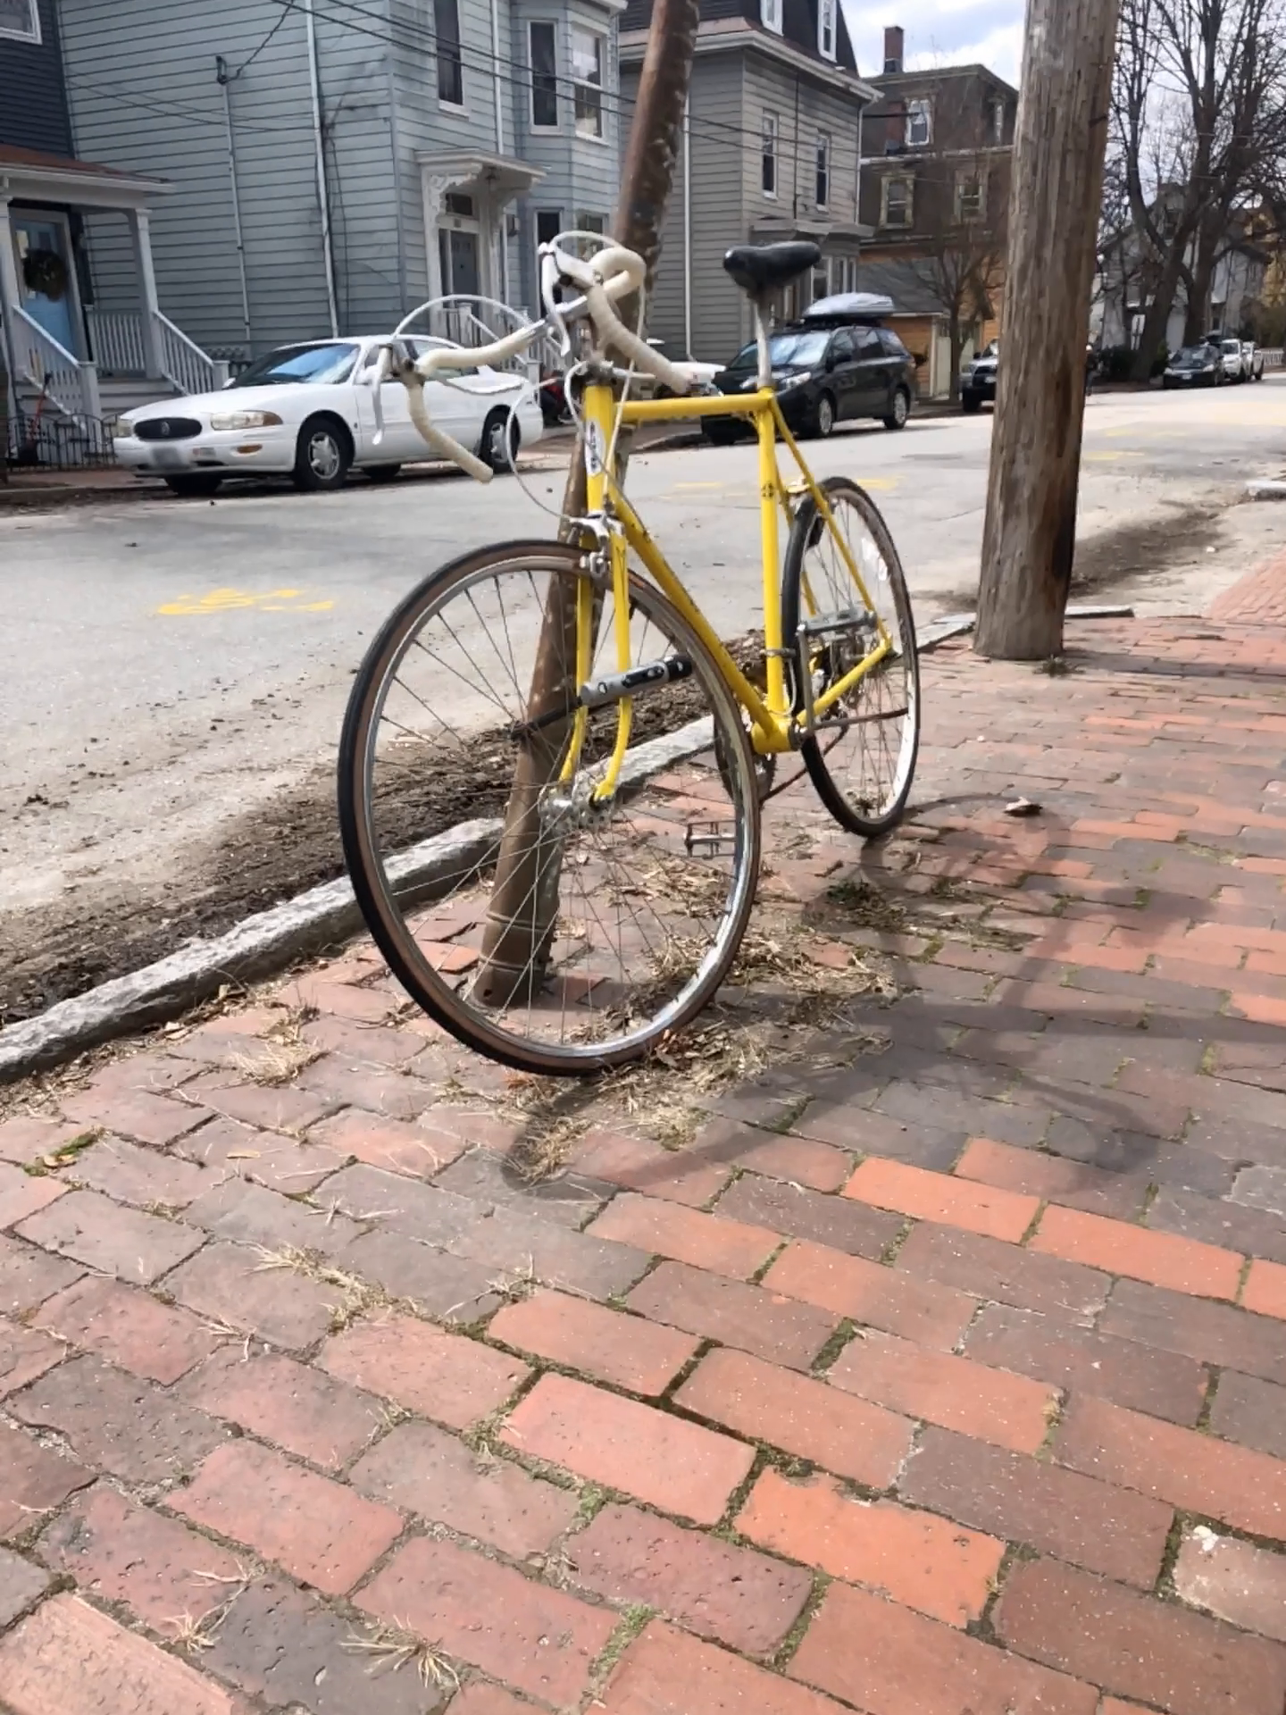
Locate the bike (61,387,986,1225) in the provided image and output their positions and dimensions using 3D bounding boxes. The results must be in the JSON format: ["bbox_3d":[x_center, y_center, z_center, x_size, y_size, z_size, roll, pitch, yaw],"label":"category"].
[{"bbox_3d":[-0.001,-0.280,2.314,0.538,0.804,1.696,10,24,30],"label":"bike"}]
